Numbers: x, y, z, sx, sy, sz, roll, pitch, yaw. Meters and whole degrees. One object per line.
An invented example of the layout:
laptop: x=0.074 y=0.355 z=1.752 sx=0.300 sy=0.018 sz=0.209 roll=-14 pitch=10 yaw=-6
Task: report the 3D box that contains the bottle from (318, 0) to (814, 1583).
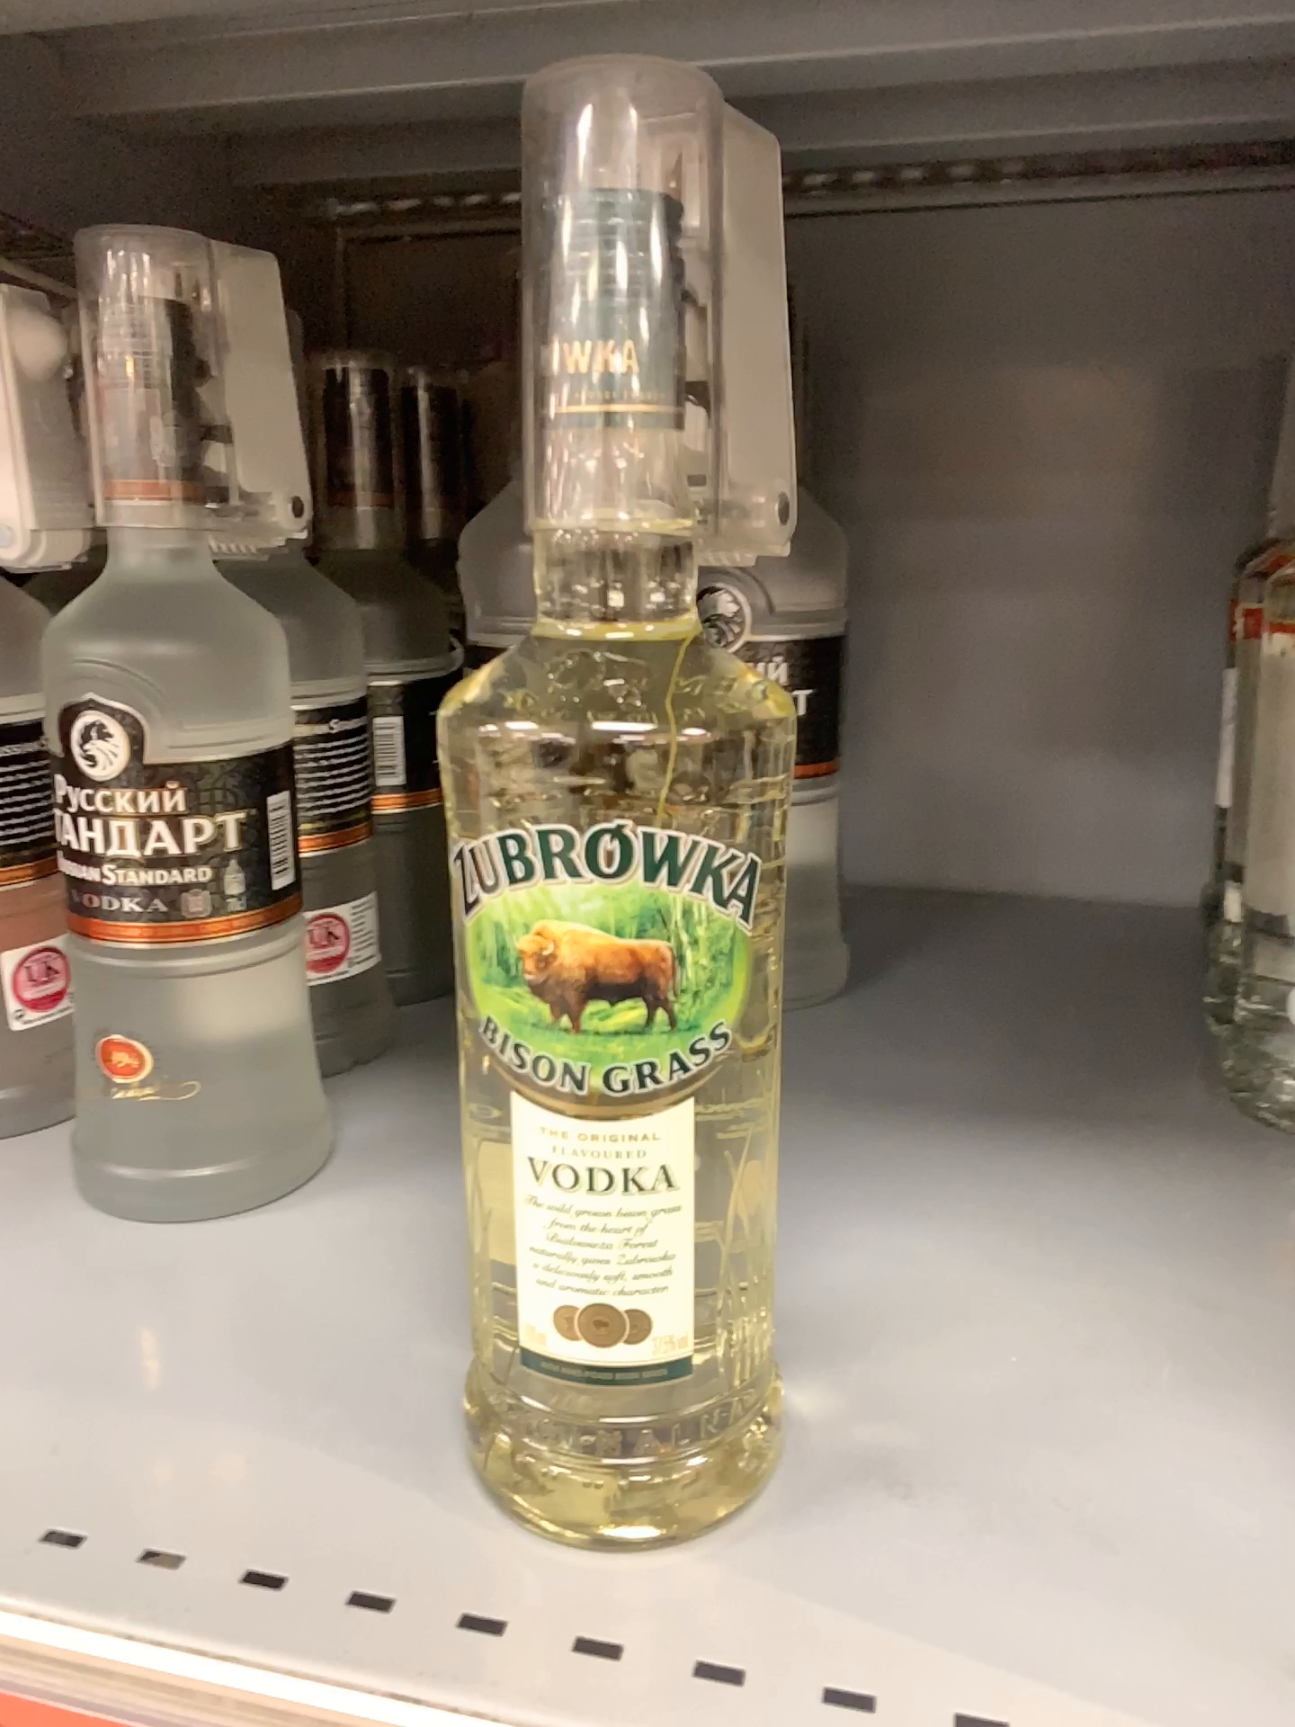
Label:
bottle: x=-0.010 y=-0.009 z=0.281 sx=0.076 sy=0.303 sz=0.069 roll=3 pitch=13 yaw=12
